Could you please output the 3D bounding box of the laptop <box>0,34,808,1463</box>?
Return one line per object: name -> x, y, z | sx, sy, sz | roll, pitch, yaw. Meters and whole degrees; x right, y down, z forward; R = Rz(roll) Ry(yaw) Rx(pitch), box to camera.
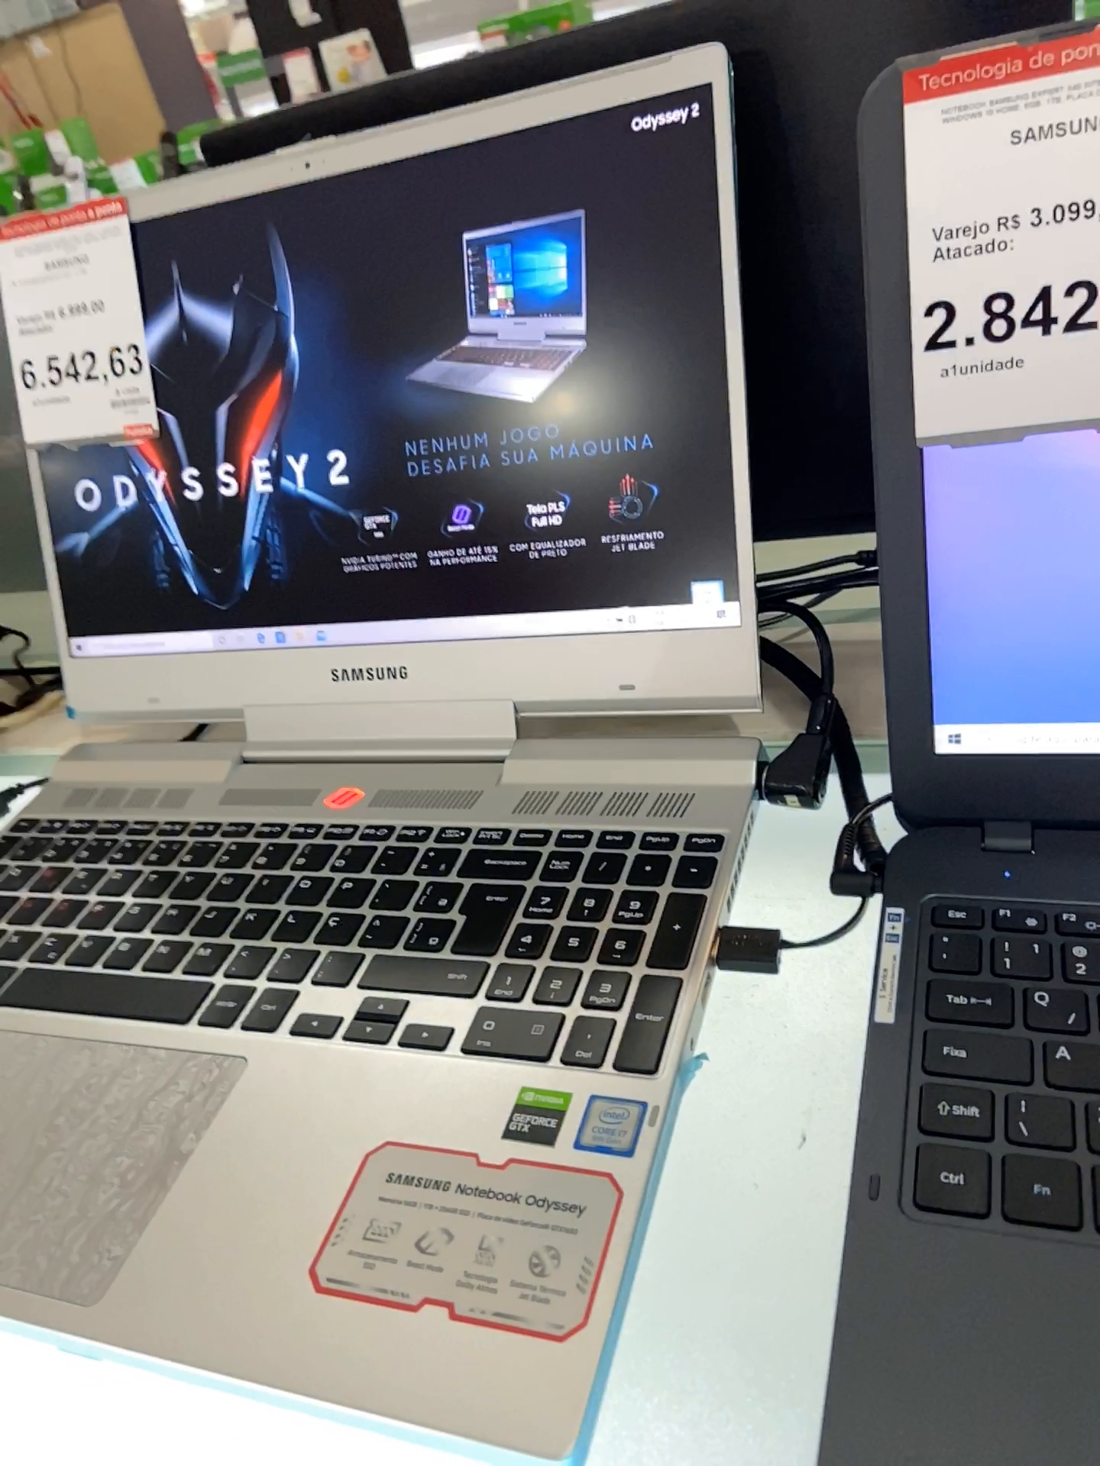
laptop -> -0.129, -0.041, 0.391 | 0.353, 0.225, 0.370 | -1, 36, 23
